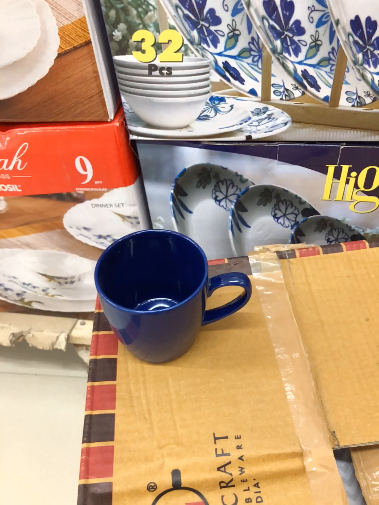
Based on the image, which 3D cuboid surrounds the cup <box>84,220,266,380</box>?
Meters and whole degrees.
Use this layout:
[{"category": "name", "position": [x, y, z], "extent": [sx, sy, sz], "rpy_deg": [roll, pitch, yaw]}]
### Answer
[{"category": "cup", "position": [-0.004, 0.033, 0.282], "extent": [0.100, 0.079, 0.070], "rpy_deg": [-2, 45, 5]}]
